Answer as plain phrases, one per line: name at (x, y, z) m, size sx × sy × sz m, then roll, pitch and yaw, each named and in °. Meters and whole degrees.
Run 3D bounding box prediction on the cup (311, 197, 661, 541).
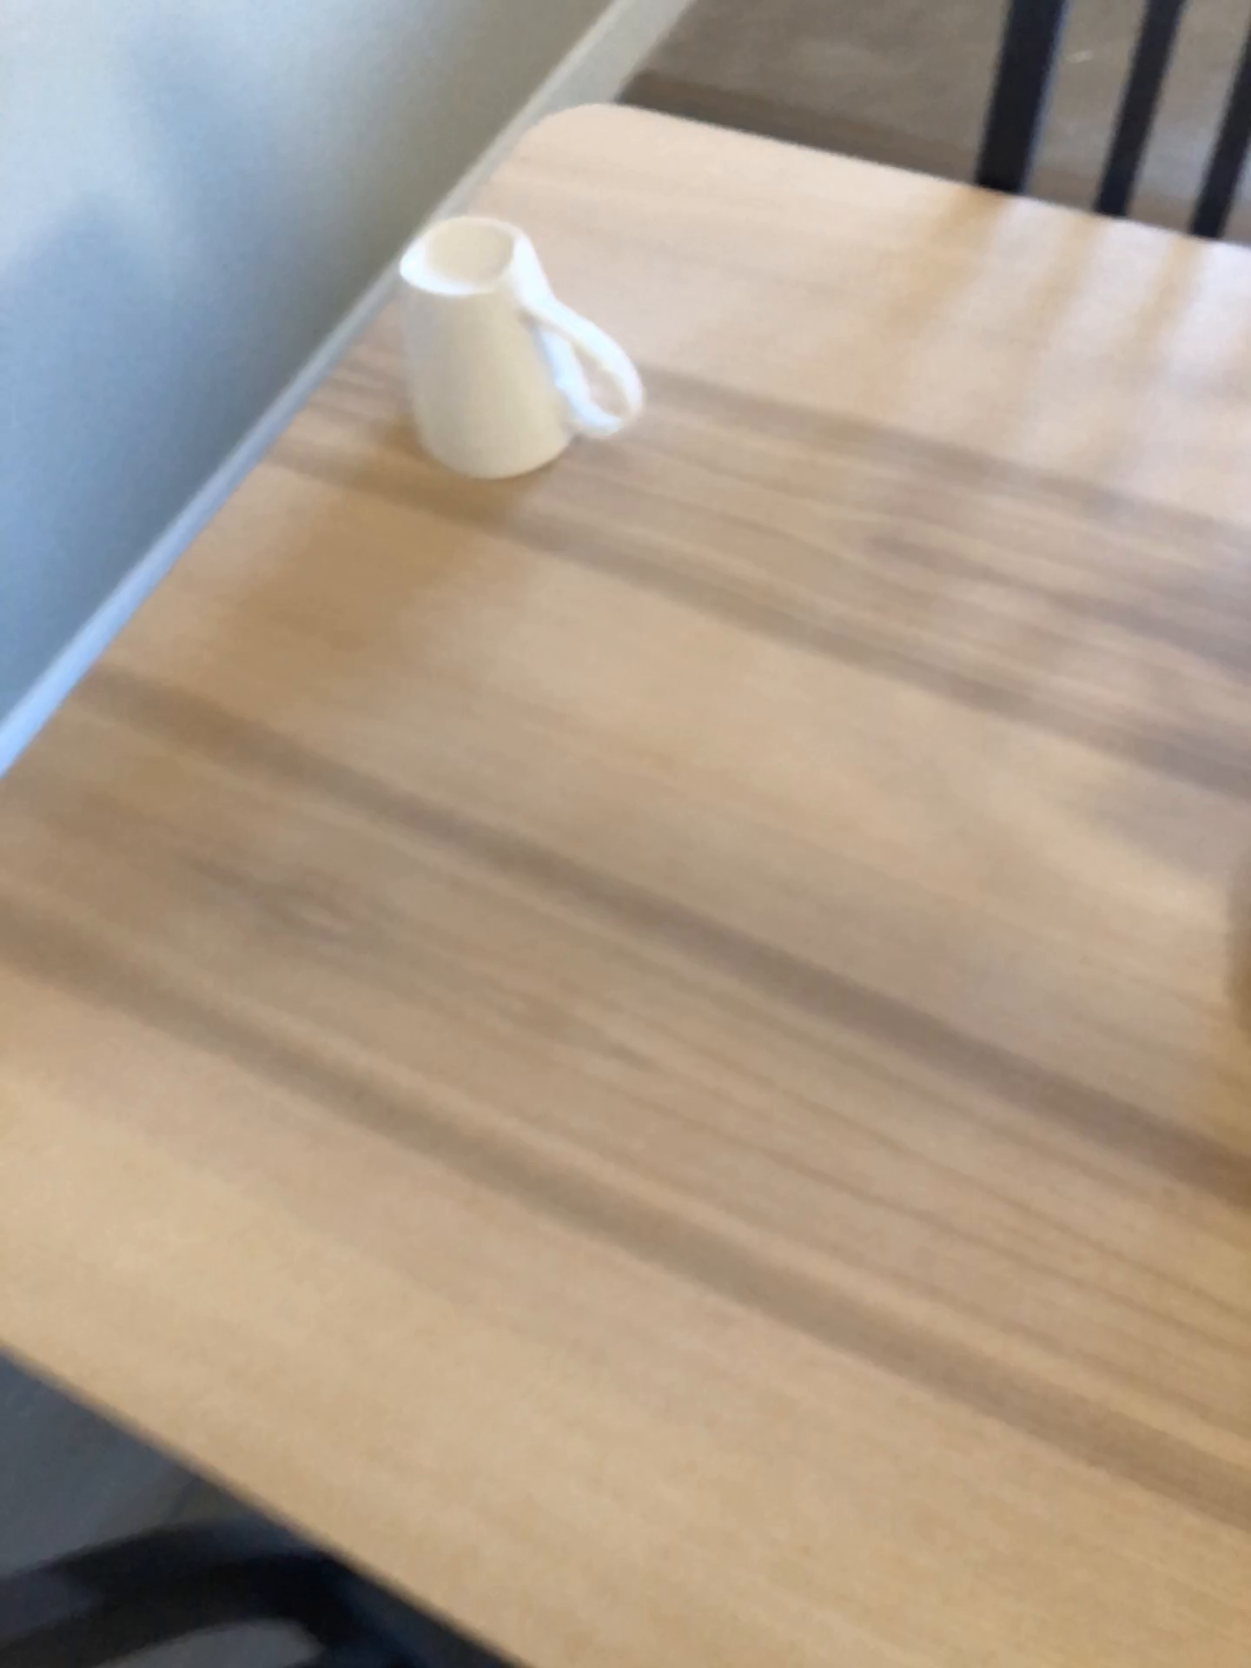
cup at (-0.067, -0.247, 0.746) m, size 0.140 × 0.120 × 0.100 m, roll 14°, pitch 61°, yaw 14°
